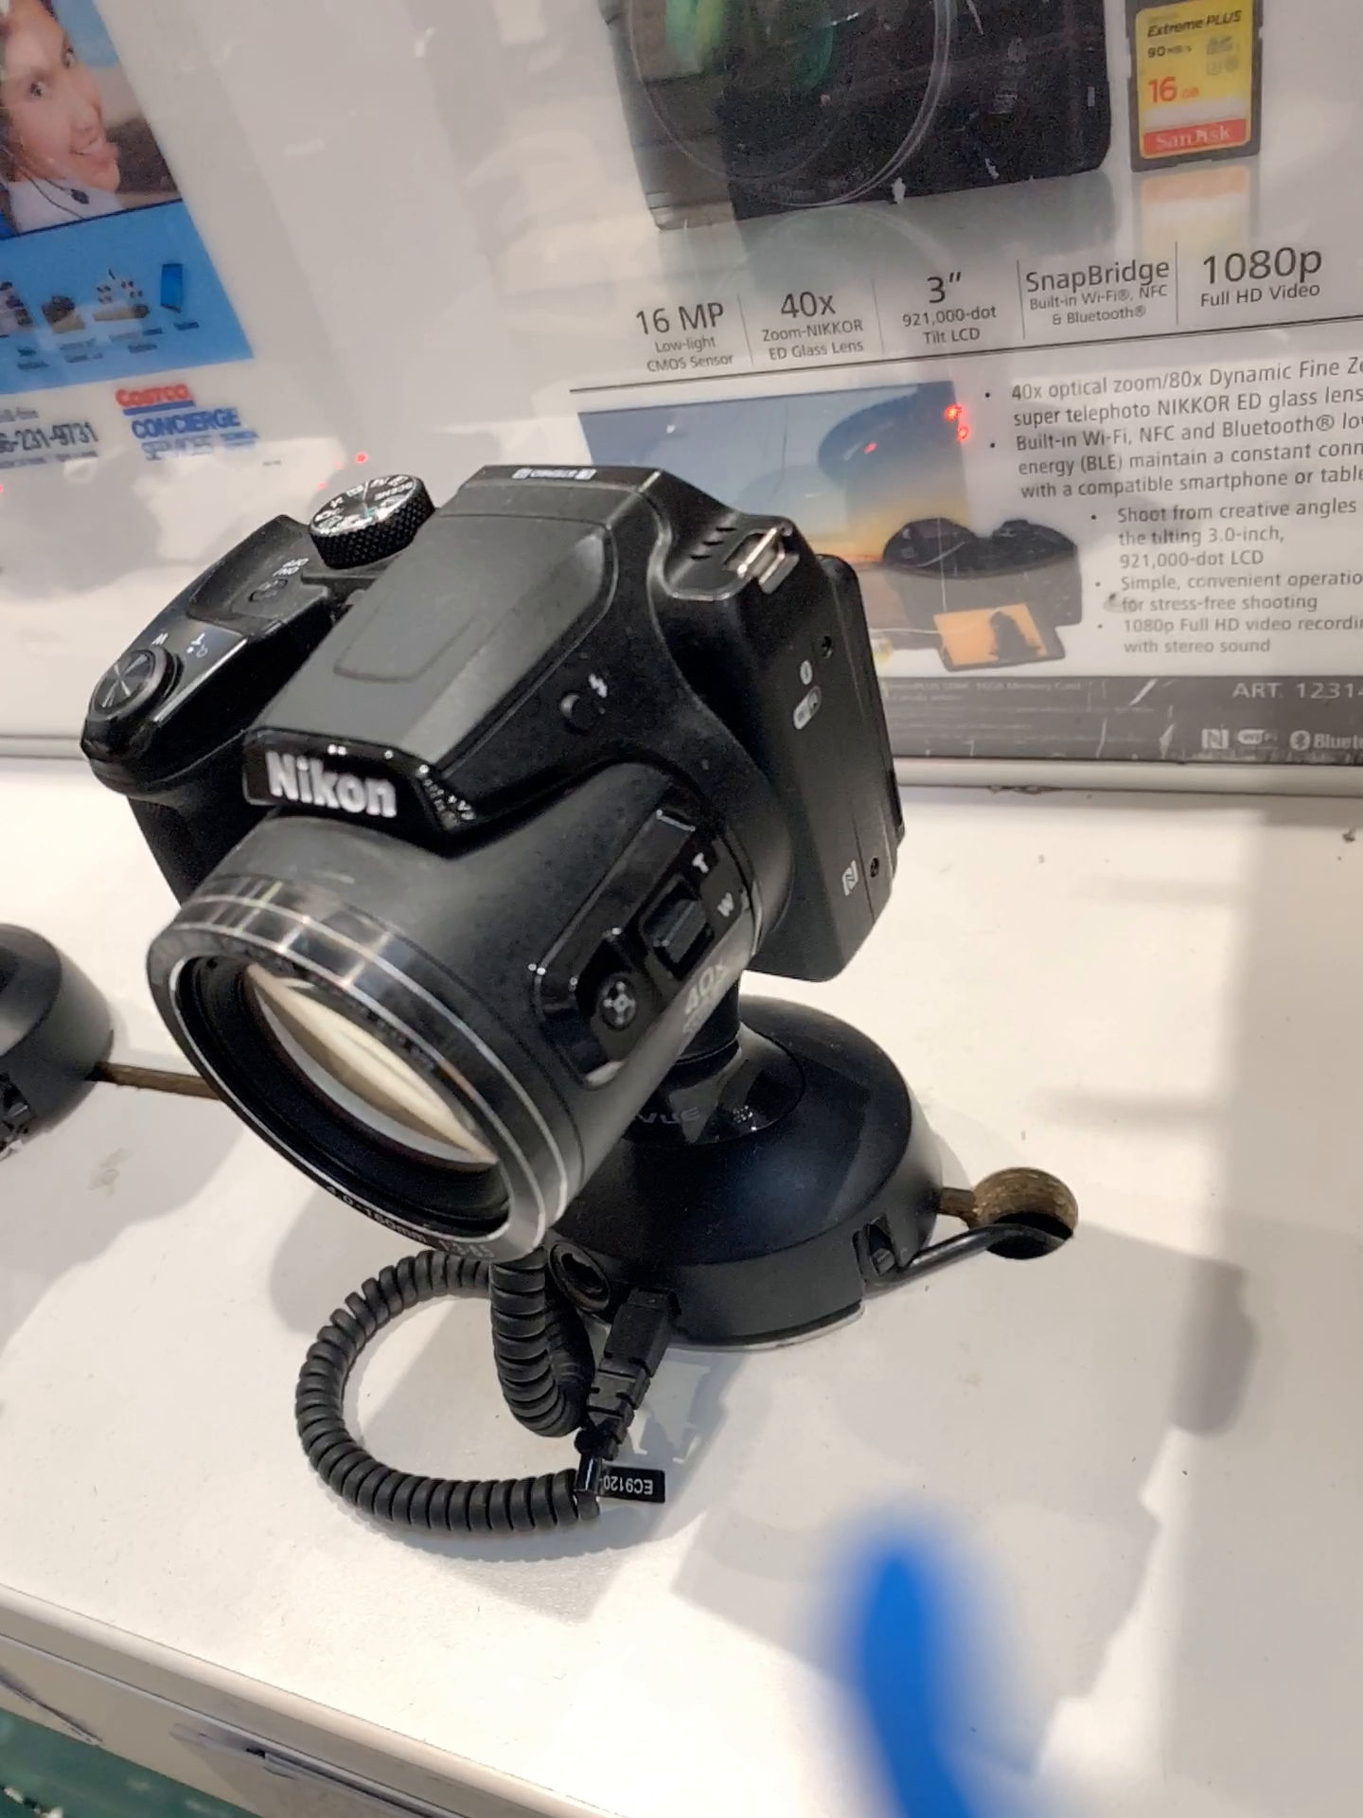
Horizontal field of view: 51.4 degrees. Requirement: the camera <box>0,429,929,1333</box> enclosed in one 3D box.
[{"bbox_3d":[-0.034,-0.007,0.193,0.110,0.089,0.060,8,46,29],"label":"camera"}]
